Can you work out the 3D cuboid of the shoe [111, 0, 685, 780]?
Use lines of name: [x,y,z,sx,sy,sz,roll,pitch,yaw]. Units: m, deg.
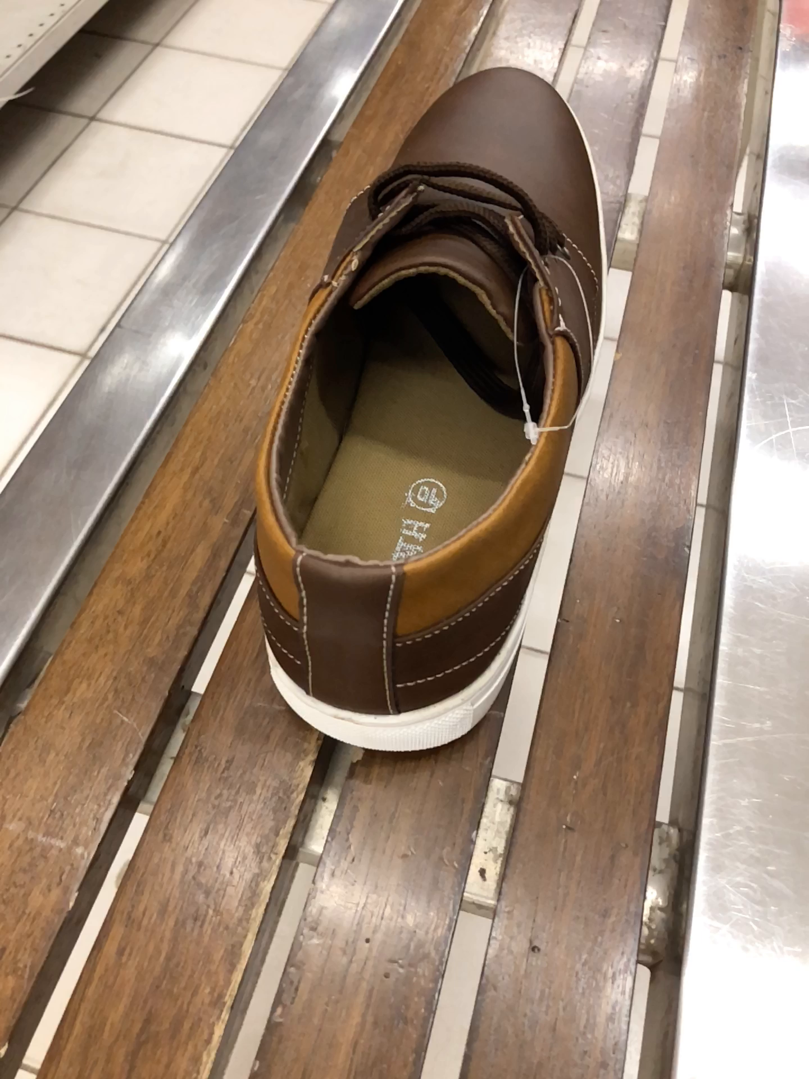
shoe: [0.023,-0.091,0.308,0.100,0.080,0.312,12,57,8]
